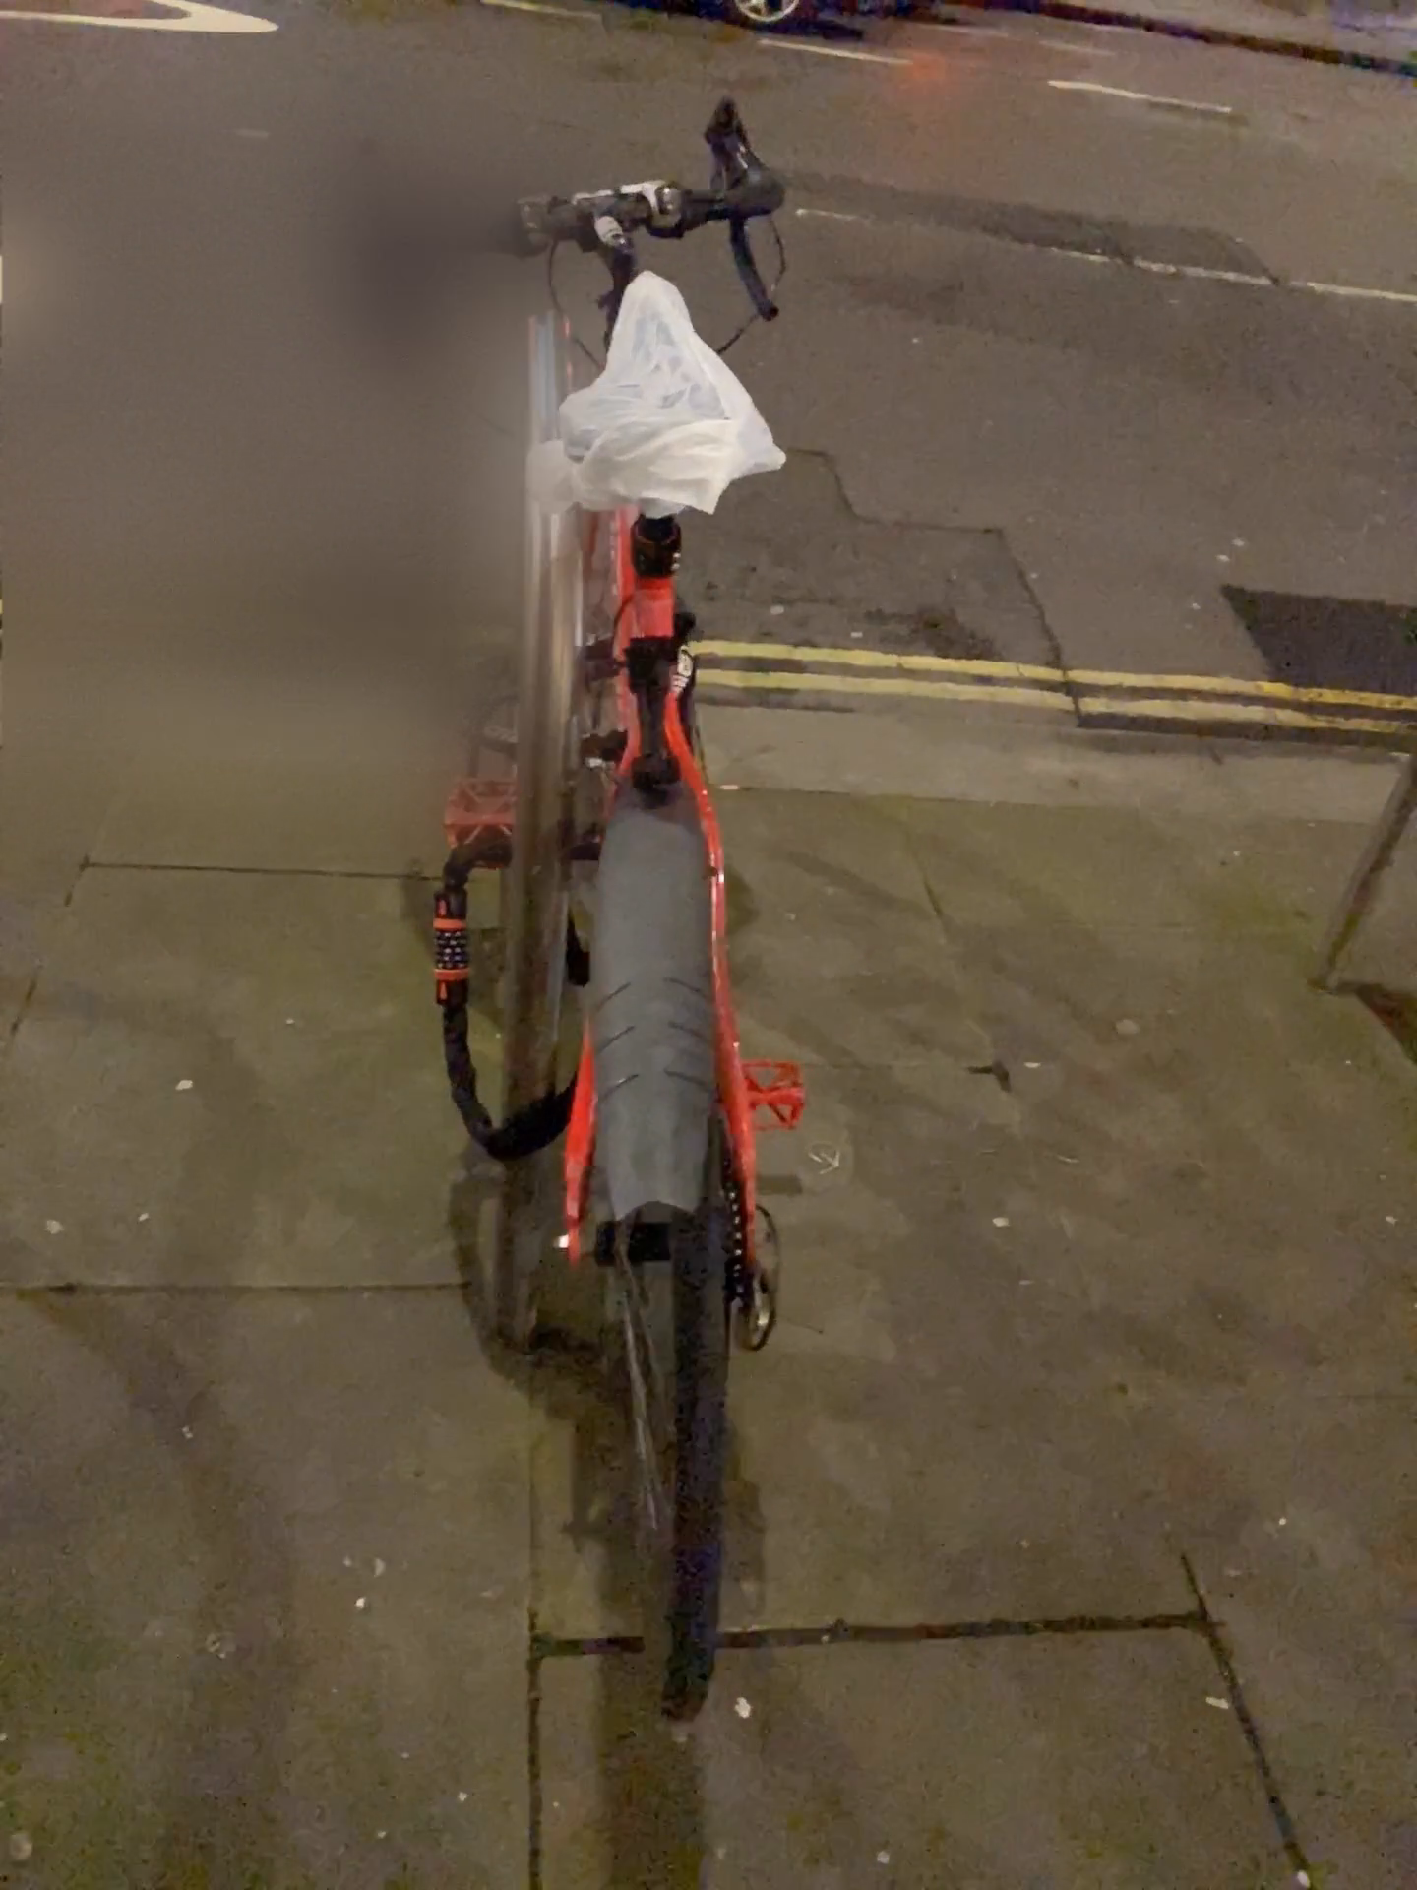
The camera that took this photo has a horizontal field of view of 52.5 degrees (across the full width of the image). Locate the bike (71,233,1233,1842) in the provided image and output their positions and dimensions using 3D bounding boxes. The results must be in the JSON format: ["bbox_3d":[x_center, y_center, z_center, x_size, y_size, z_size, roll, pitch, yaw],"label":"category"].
[{"bbox_3d":[-0.173,-0.124,1.559,0.537,0.809,1.670,0,38,-10],"label":"bike"}]
